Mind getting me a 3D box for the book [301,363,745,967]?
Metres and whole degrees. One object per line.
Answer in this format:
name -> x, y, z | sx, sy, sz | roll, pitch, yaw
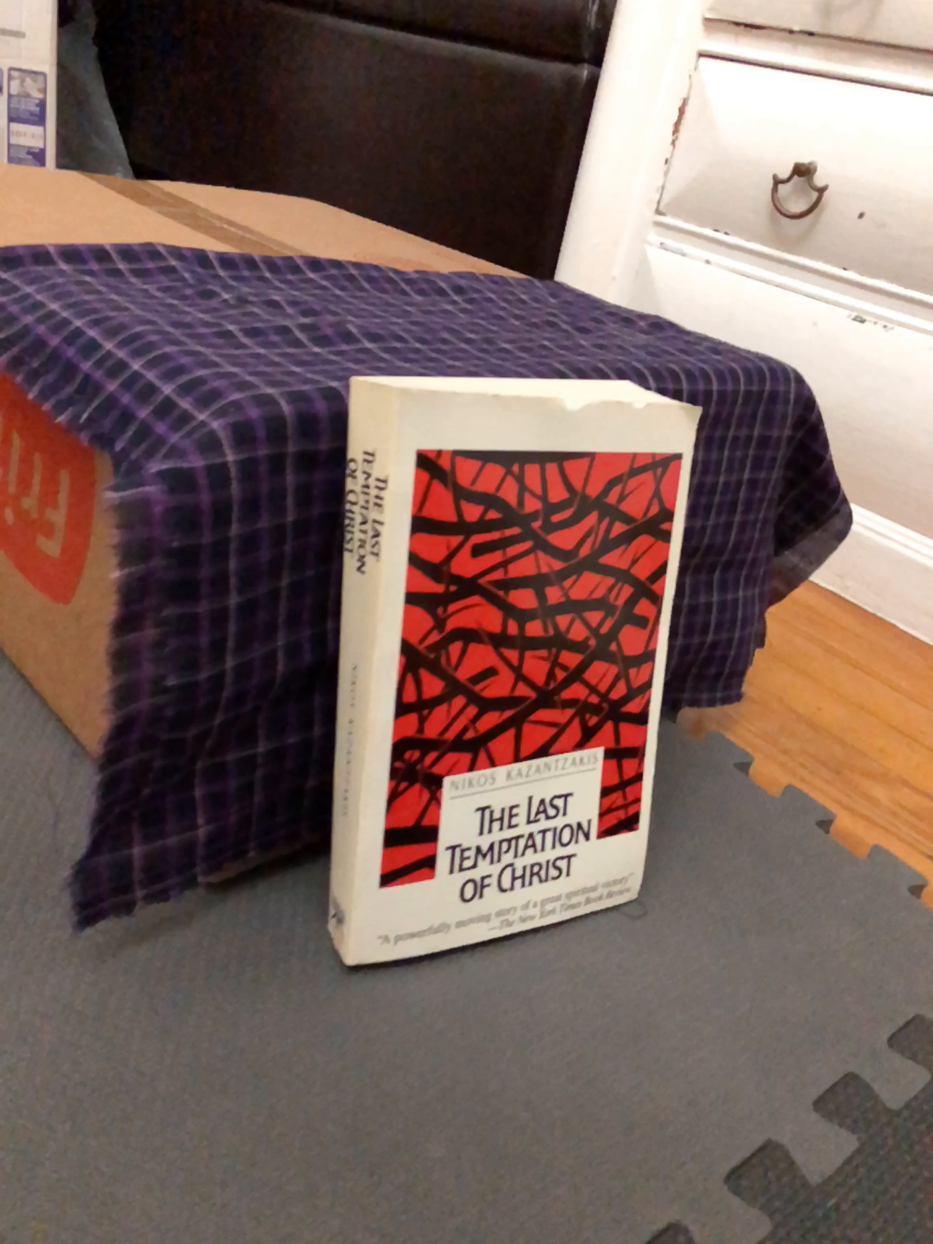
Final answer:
book -> 0.017, 0.011, 0.393 | 0.150, 0.209, 0.050 | -6, 20, -24
